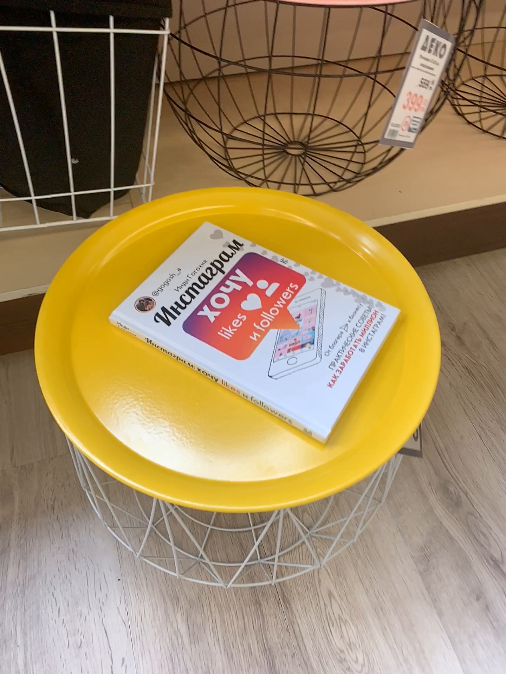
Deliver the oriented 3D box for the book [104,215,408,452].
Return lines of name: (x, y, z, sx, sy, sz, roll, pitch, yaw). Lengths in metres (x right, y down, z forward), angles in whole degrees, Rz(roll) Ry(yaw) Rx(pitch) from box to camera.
book: (0.006, -0.020, 0.507, 0.240, 0.020, 0.170, 27, 57, 16)
